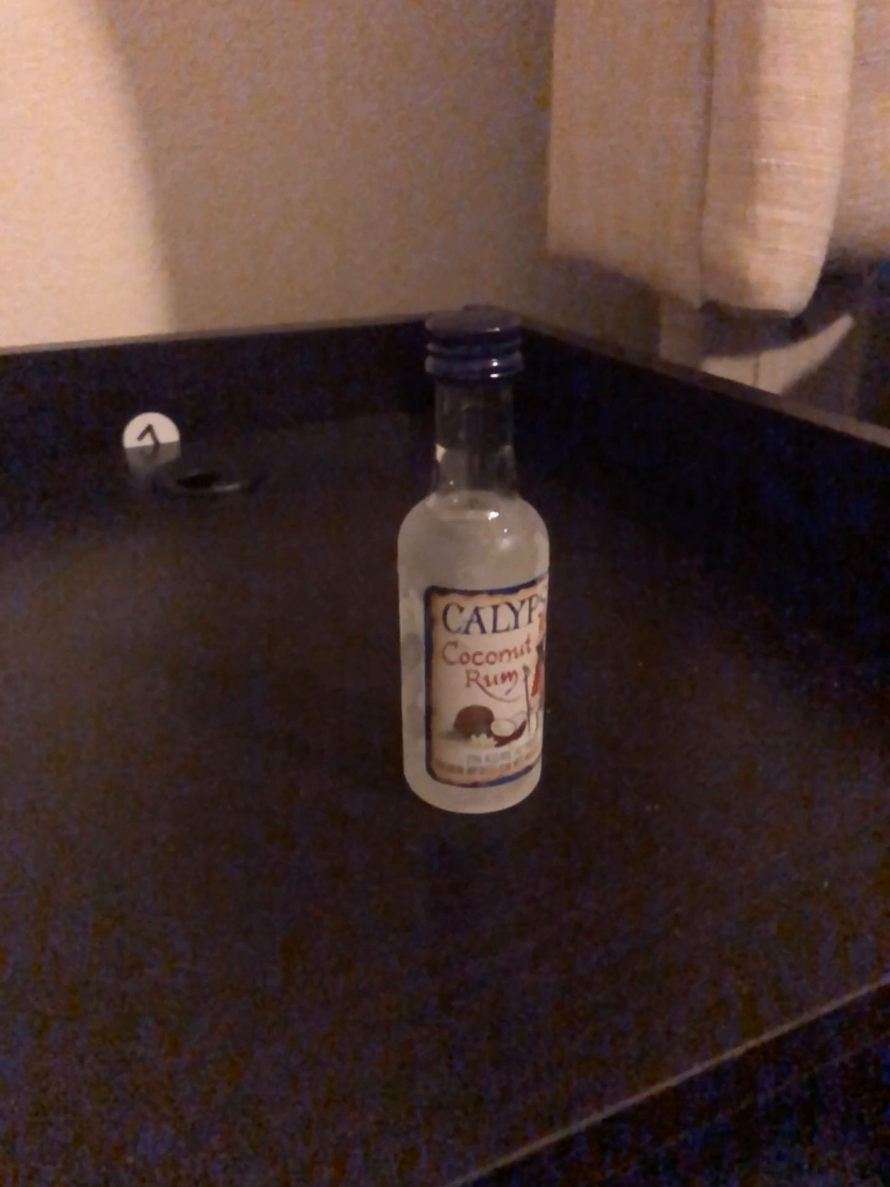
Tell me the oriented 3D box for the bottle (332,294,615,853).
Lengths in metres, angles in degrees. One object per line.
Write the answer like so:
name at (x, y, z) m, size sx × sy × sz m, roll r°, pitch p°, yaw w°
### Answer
bottle at (0.005, -0.005, 0.205) m, size 0.040 × 0.104 × 0.036 m, roll -13°, pitch 26°, yaw -27°
